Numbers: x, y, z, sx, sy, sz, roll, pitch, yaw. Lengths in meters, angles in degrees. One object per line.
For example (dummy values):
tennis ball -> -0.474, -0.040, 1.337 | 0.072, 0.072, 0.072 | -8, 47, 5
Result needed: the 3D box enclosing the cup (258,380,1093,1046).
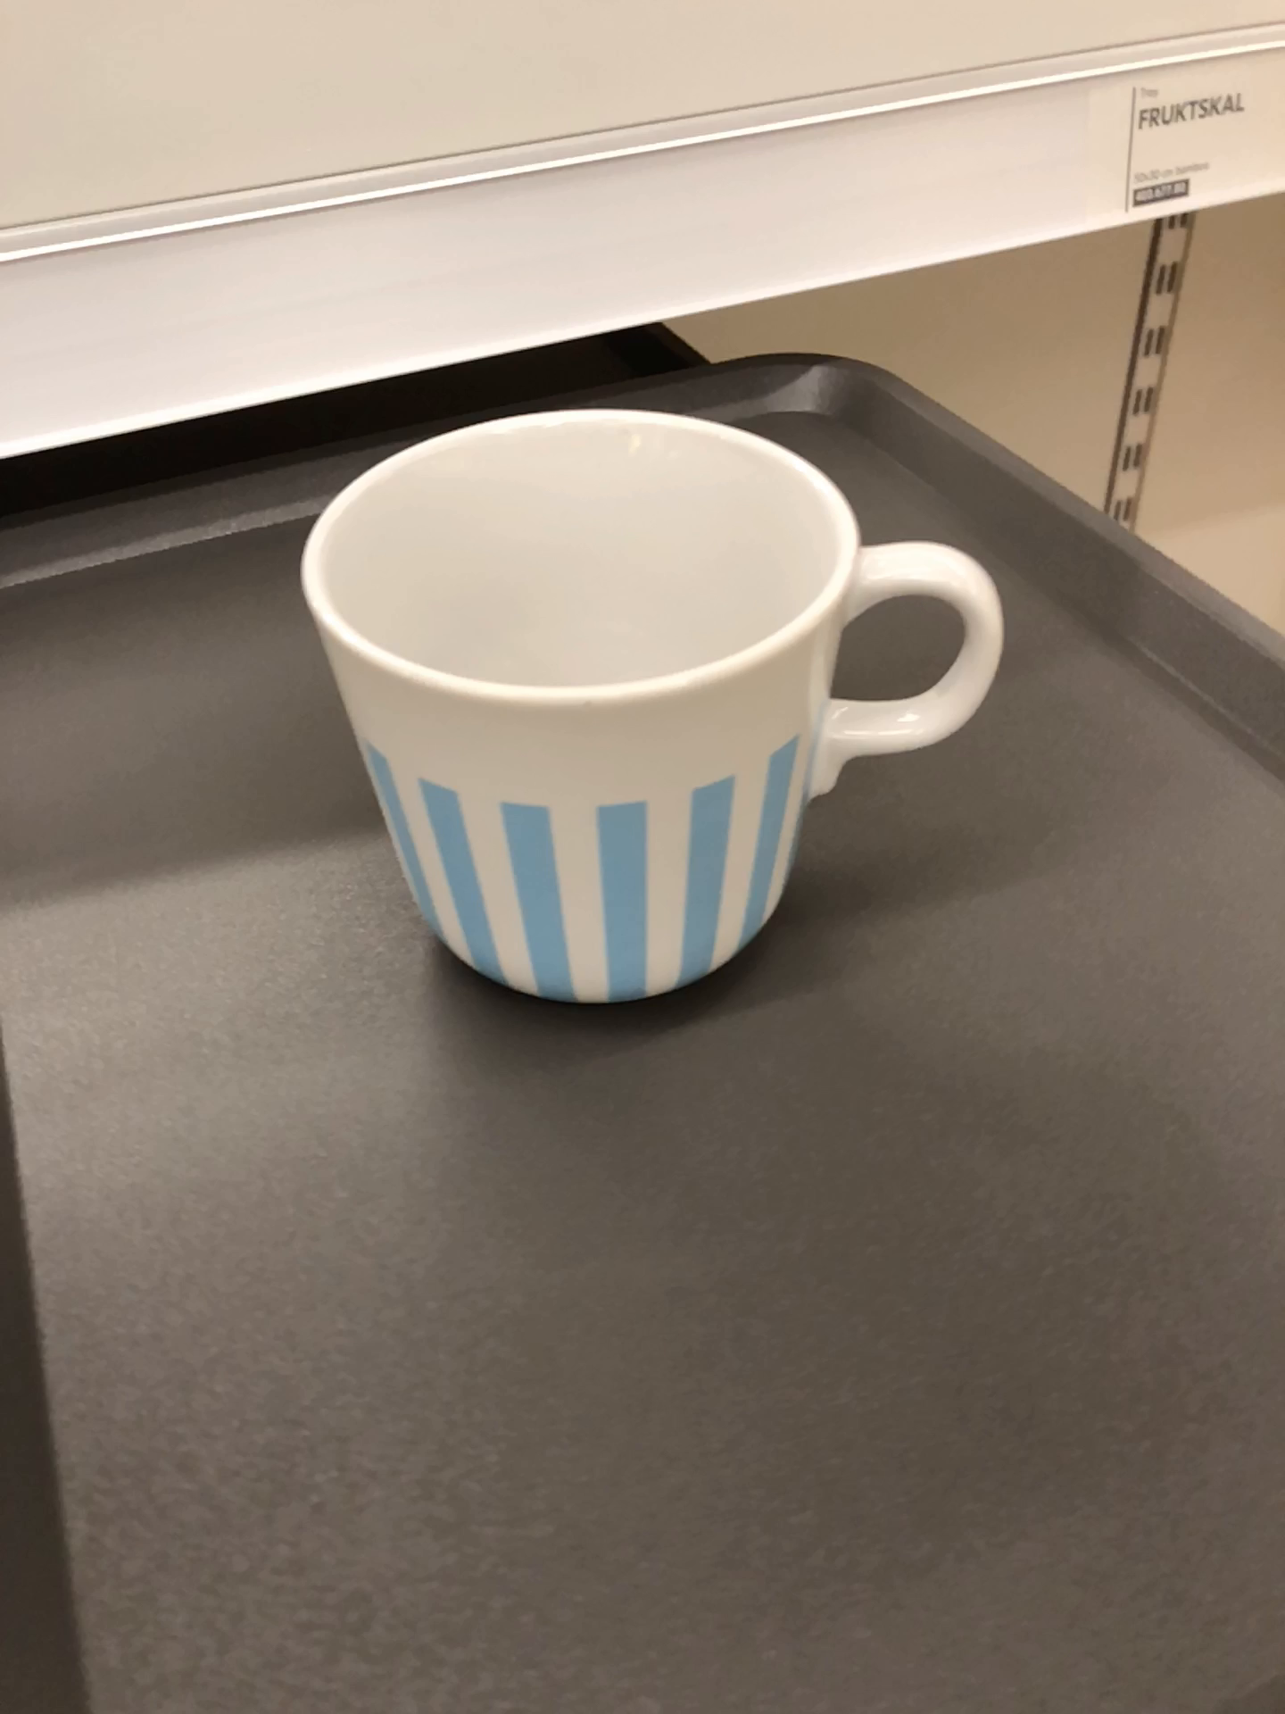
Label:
cup -> 0.003, -0.028, 0.245 | 0.110, 0.070, 0.090 | -3, 39, -1
